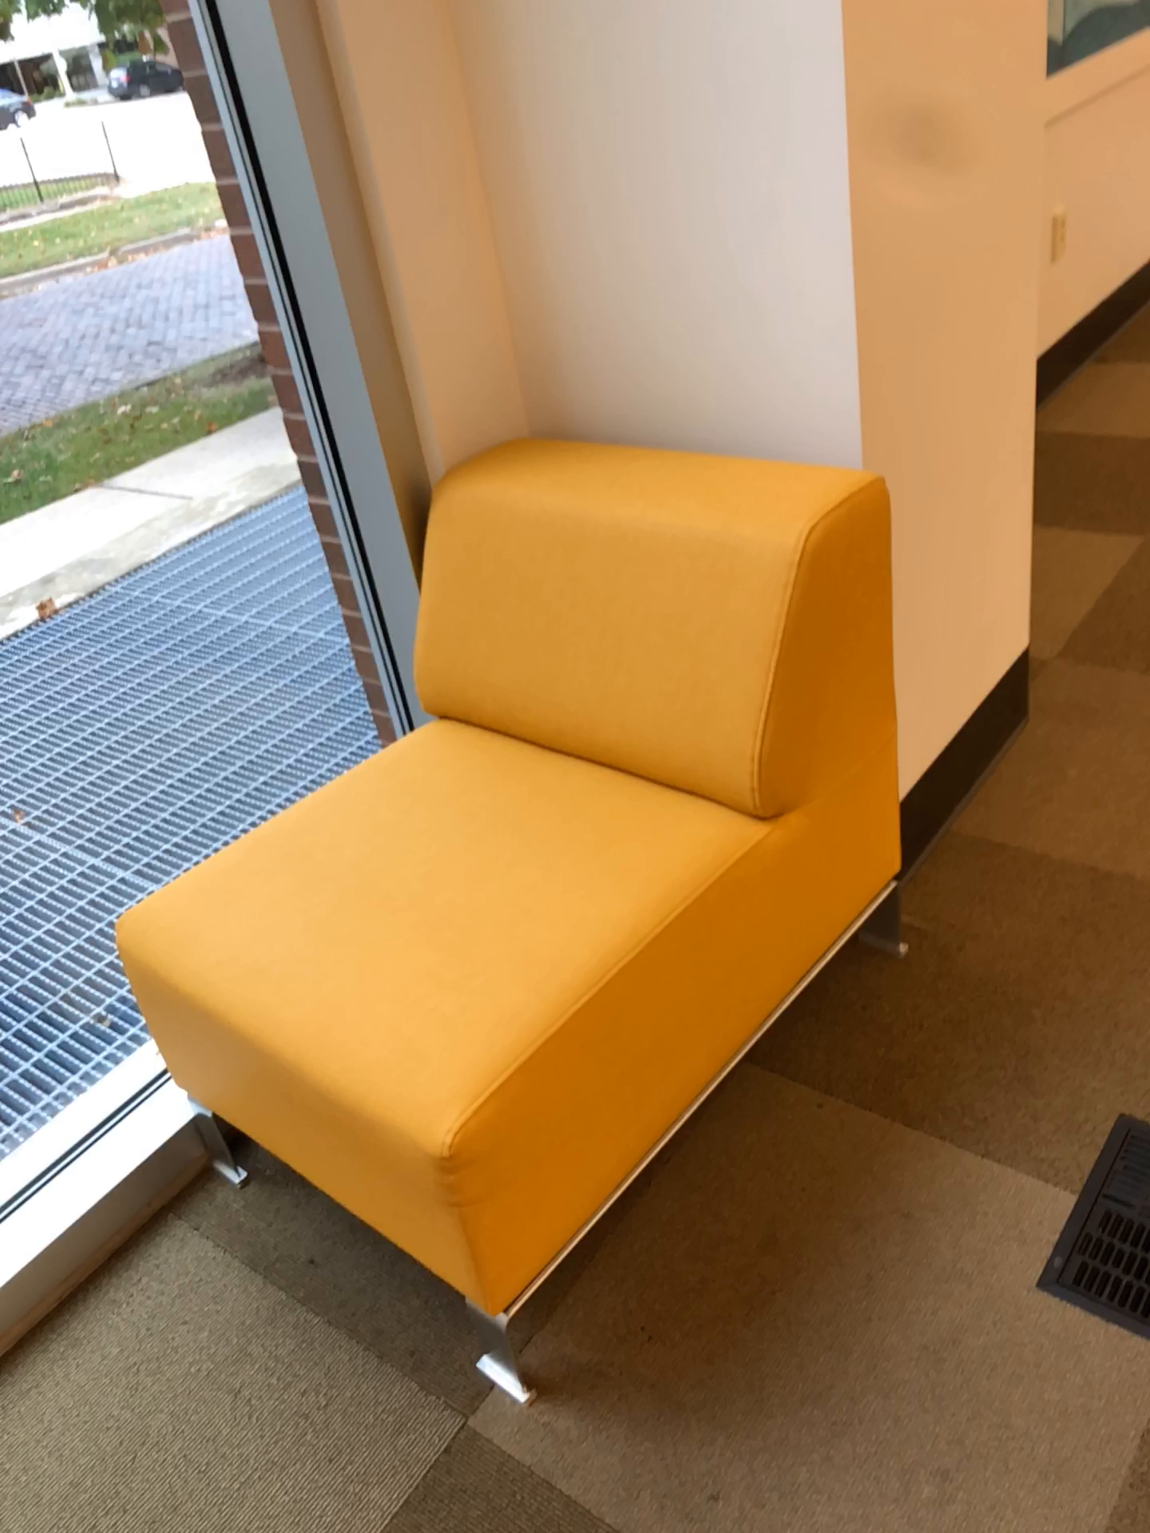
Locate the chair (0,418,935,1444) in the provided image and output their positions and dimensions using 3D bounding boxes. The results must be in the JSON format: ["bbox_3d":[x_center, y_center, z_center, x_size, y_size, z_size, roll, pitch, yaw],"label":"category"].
[{"bbox_3d":[-0.065,0.101,1.593,0.664,0.759,0.872,17,42,38],"label":"chair"}]
